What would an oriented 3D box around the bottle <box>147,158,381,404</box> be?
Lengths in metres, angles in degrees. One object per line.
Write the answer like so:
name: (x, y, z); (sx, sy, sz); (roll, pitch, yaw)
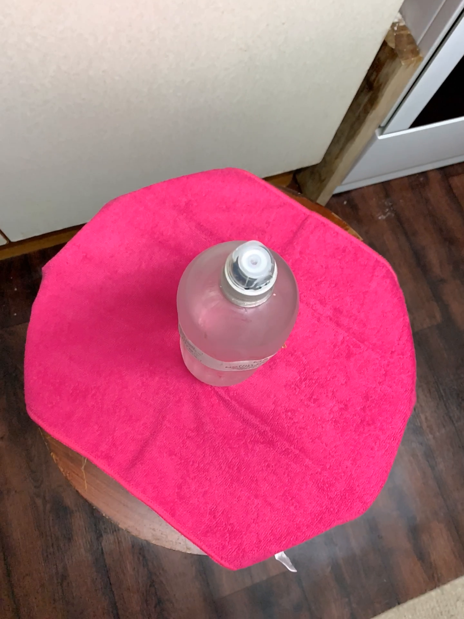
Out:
bottle: (0.004, 0.006, 0.366); (0.090, 0.259, 0.080); (-32, 81, -13)
